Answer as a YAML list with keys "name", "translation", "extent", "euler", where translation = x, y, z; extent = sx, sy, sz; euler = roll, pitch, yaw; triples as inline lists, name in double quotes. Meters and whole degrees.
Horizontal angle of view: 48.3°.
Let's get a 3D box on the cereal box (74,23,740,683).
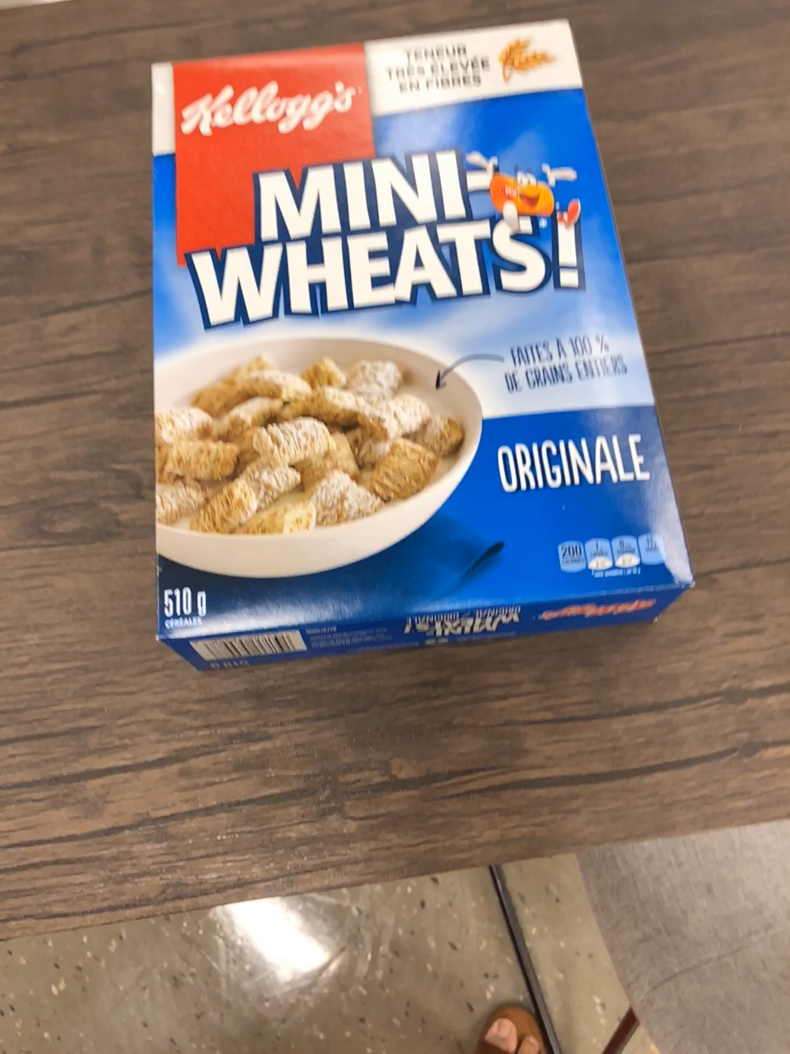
- name: "cereal box"
  translation: [-0.007, -0.084, 0.380]
  extent: [0.230, 0.060, 0.270]
  euler: [-6, 68, 0]
